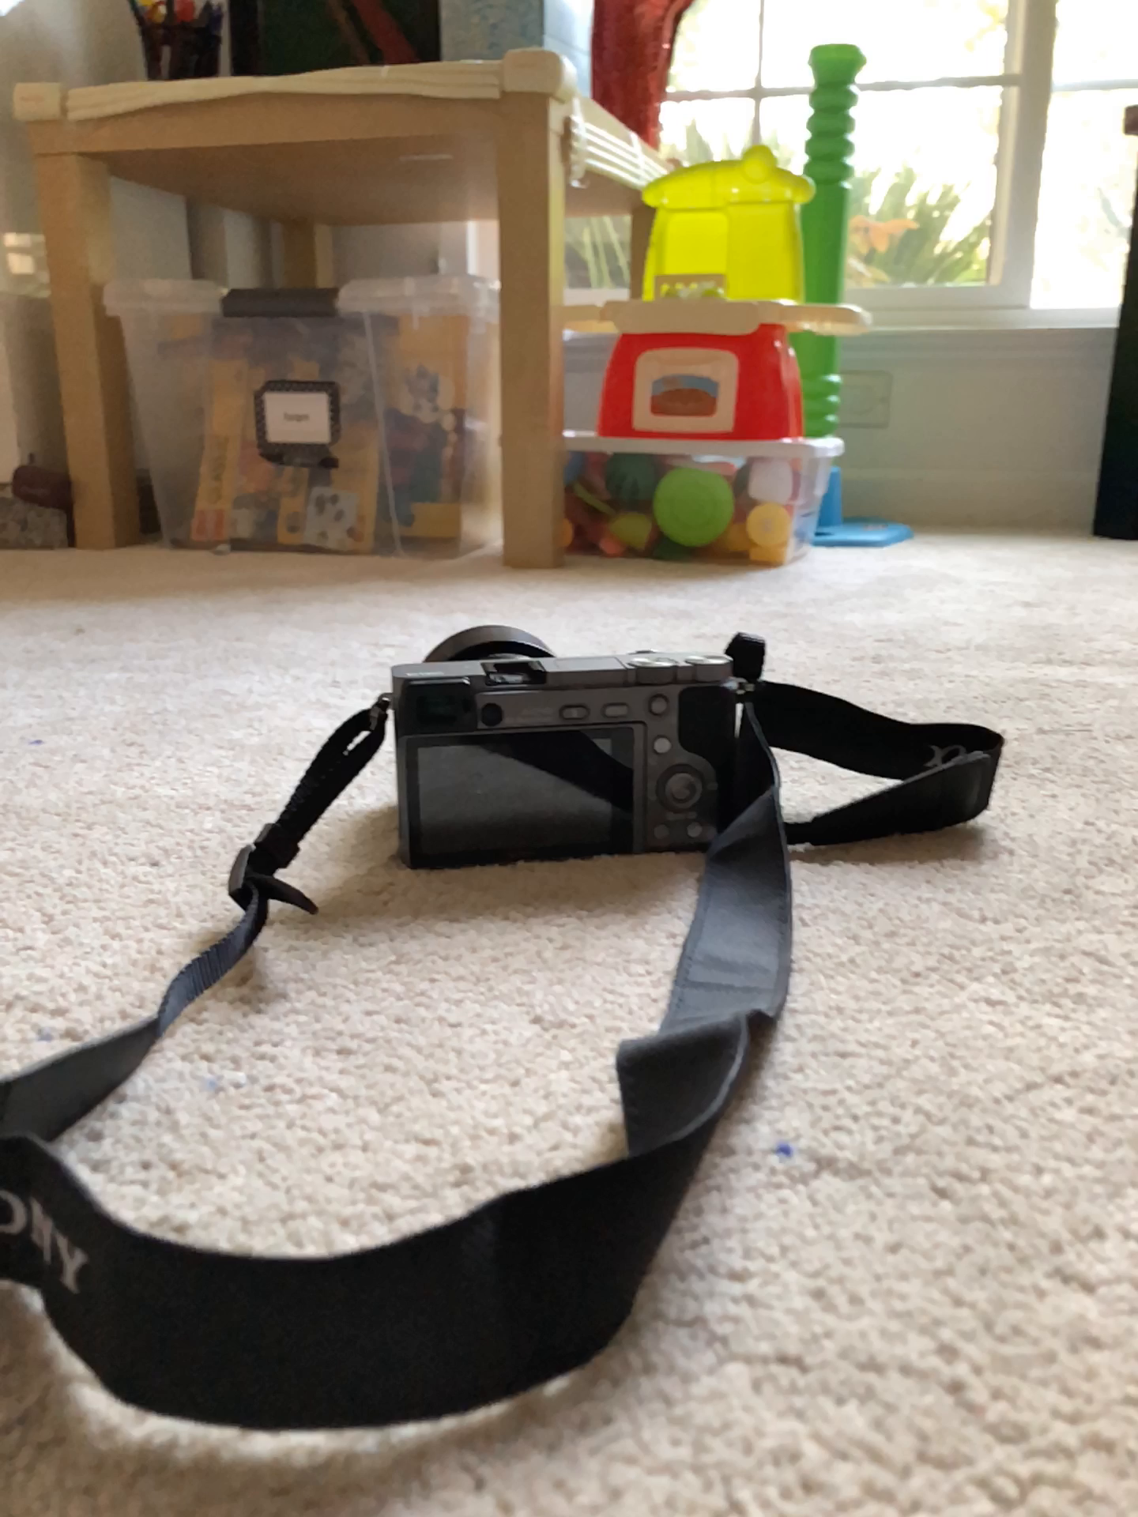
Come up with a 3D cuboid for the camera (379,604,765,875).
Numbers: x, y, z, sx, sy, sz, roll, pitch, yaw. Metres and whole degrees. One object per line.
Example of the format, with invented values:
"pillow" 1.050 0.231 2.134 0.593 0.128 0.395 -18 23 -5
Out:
"camera" -0.005 -0.012 0.447 0.120 0.070 0.100 -2 15 -9
